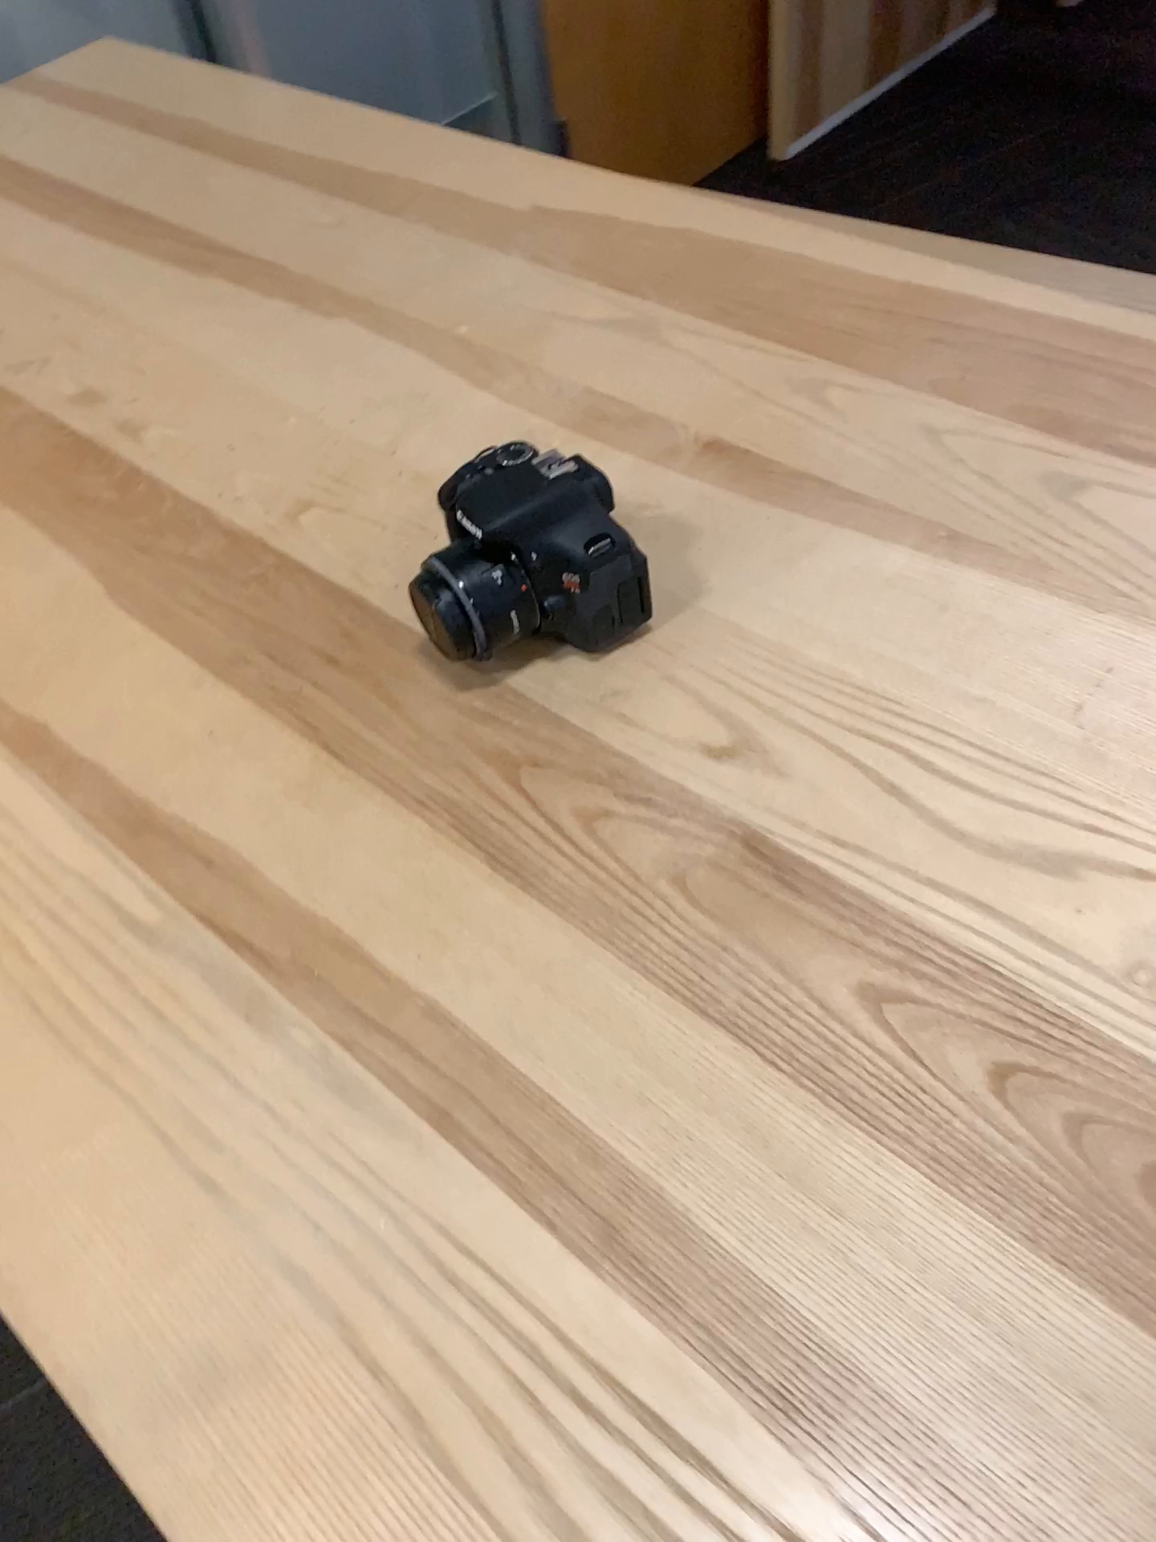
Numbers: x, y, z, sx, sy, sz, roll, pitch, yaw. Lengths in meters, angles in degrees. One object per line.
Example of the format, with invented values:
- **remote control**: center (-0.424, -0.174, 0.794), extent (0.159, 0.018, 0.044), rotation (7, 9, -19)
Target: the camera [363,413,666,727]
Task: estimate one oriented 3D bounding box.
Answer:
- **camera**: center (-0.035, -0.120, 0.691), extent (0.116, 0.094, 0.123), rotation (-33, 53, -18)
